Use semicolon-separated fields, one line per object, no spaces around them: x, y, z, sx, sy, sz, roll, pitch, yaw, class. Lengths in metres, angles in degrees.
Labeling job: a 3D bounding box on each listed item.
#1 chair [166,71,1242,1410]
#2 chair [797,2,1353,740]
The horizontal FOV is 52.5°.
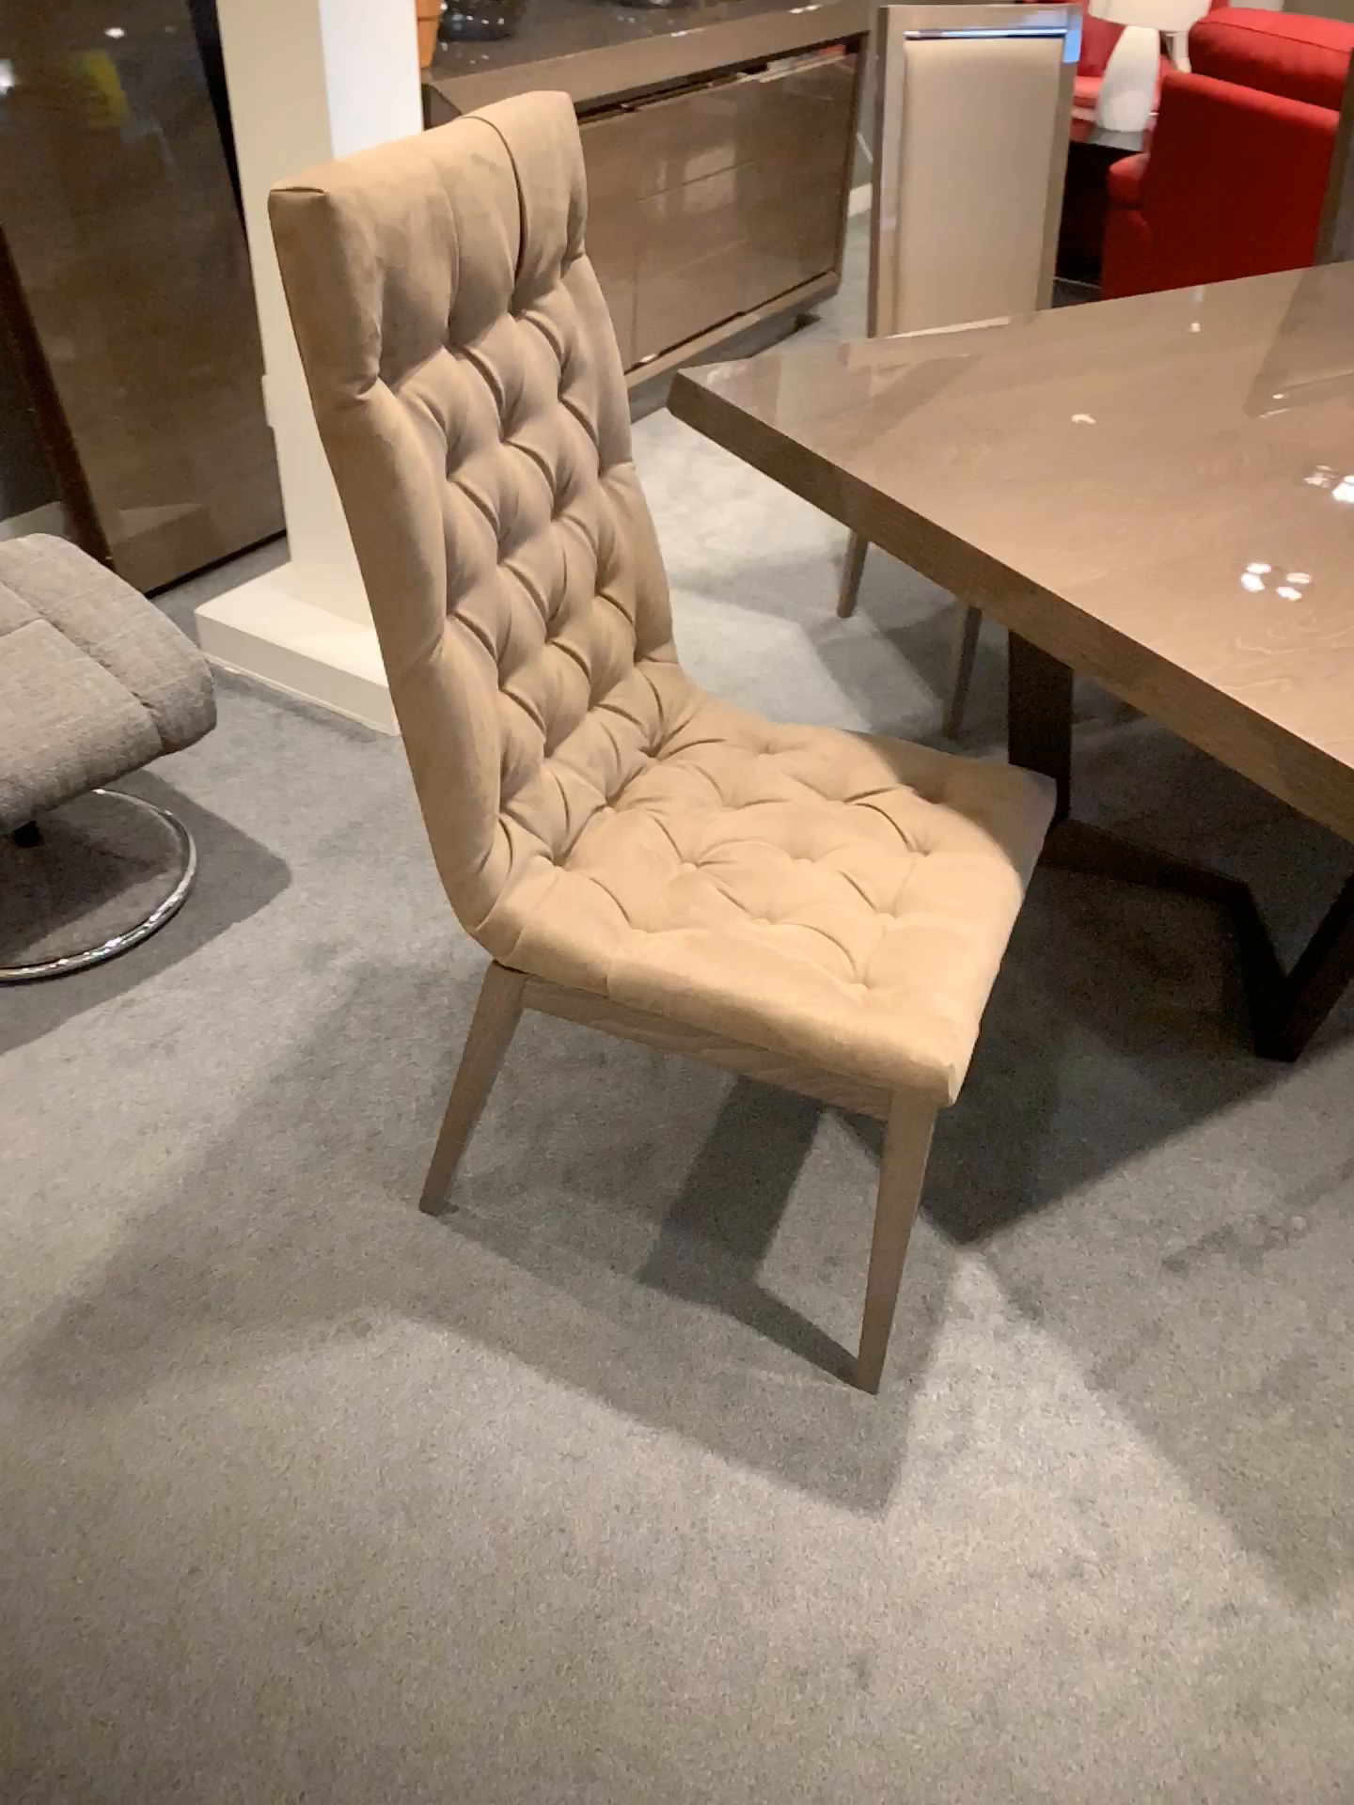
0.040;-0.136;1.309;0.637;1.021;0.527;16;40;15;chair
0.625;-0.922;2.399;0.524;1.021;0.641;-10;40;-17;chair
